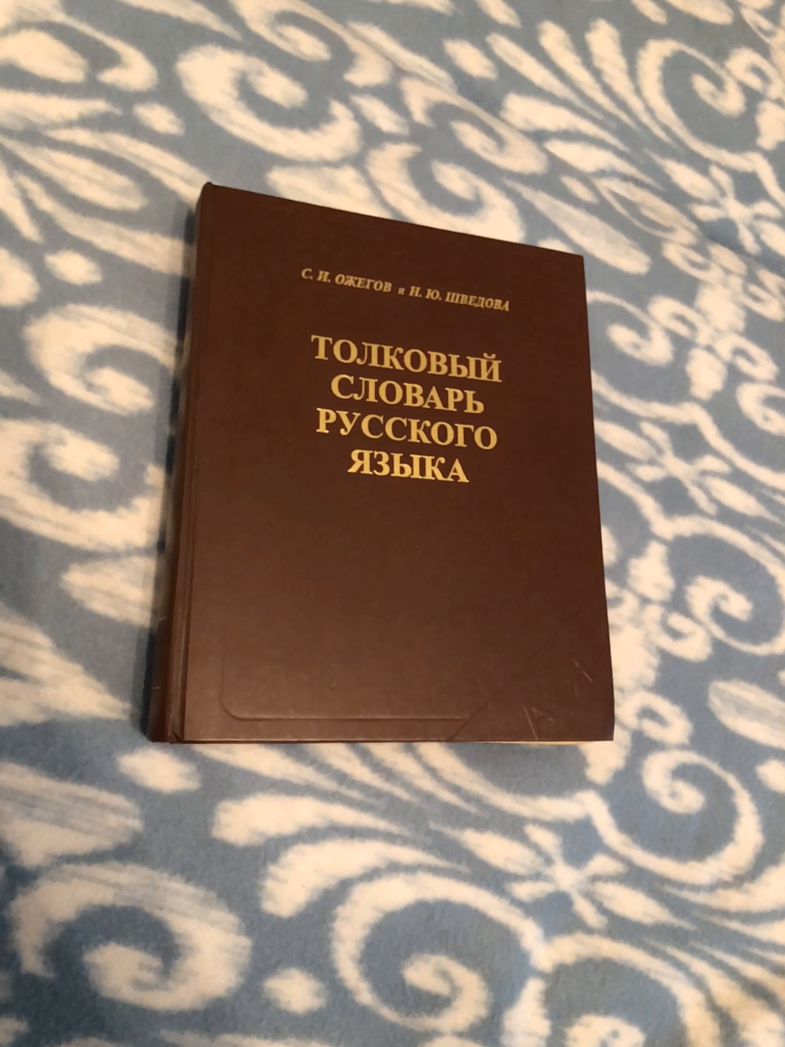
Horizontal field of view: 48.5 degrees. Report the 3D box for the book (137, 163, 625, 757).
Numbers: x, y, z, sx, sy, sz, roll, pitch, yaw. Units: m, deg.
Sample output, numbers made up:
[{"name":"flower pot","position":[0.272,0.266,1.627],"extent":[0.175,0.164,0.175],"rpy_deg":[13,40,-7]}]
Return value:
[{"name":"book","position":[-0.003,-0.023,0.443],"extent":[0.220,0.067,0.270],"rpy_deg":[5,75,-17]}]
